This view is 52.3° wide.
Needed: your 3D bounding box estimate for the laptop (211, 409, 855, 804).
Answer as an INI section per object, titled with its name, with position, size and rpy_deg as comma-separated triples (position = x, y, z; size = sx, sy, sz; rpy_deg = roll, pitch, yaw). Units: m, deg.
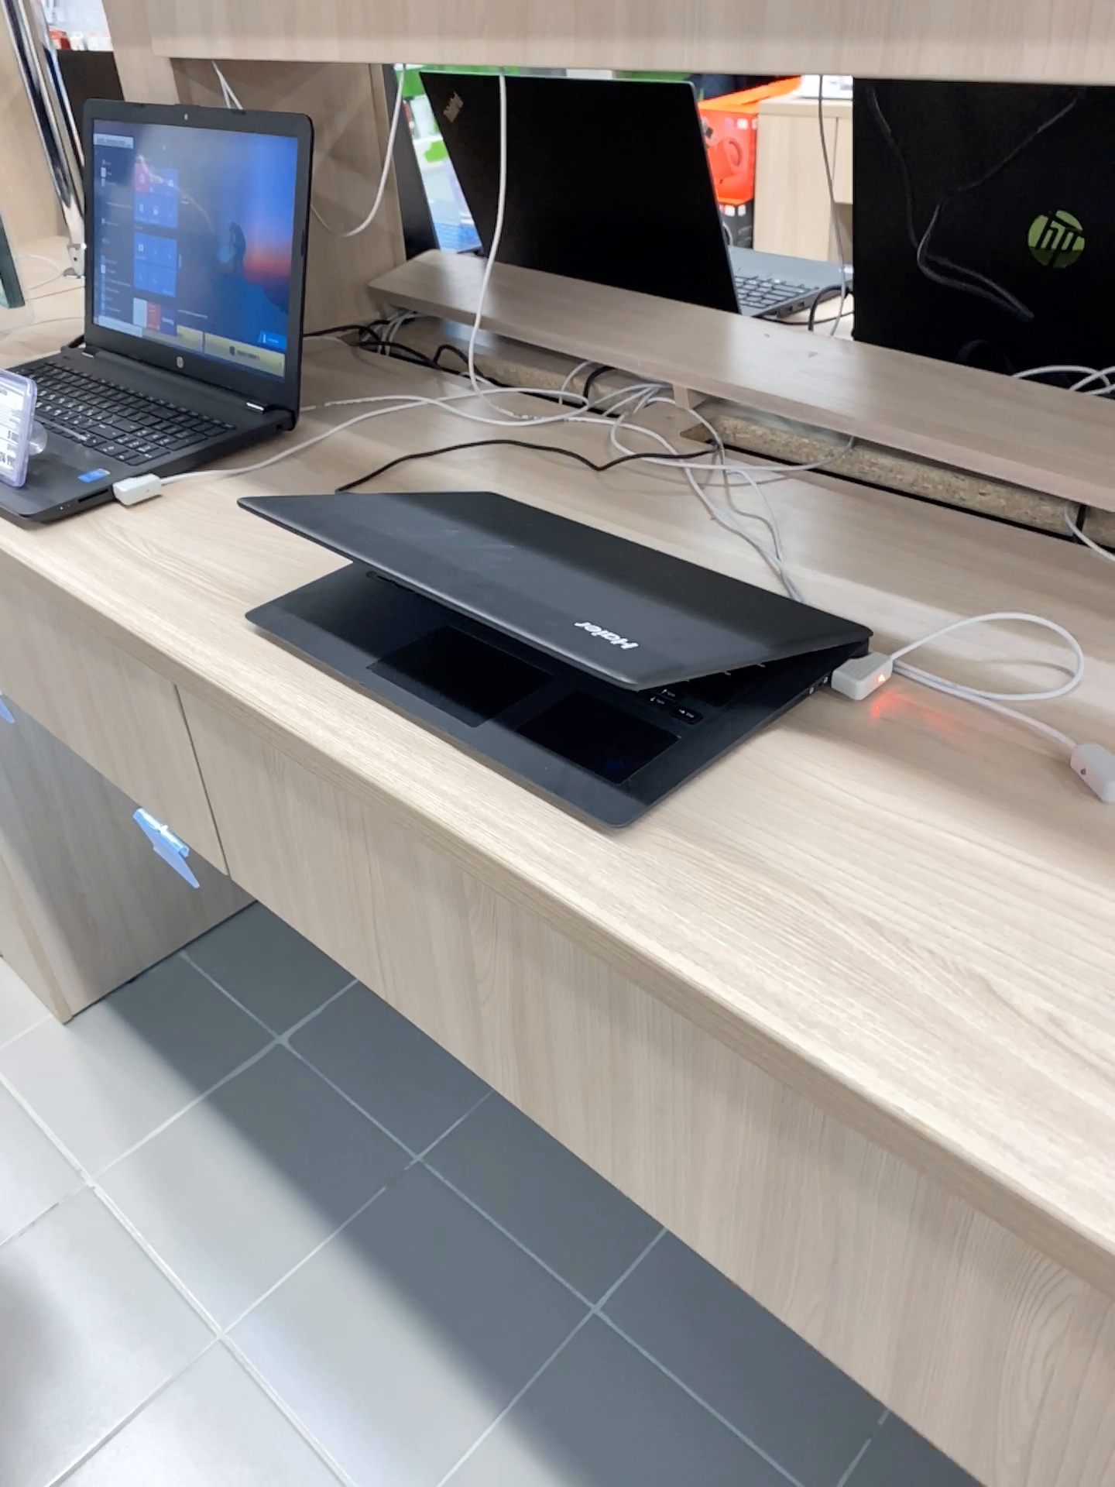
[laptop]
position = -0.024, -0.104, 0.670
size = 0.320, 0.071, 0.201
rpy_deg = 27, 46, 37
